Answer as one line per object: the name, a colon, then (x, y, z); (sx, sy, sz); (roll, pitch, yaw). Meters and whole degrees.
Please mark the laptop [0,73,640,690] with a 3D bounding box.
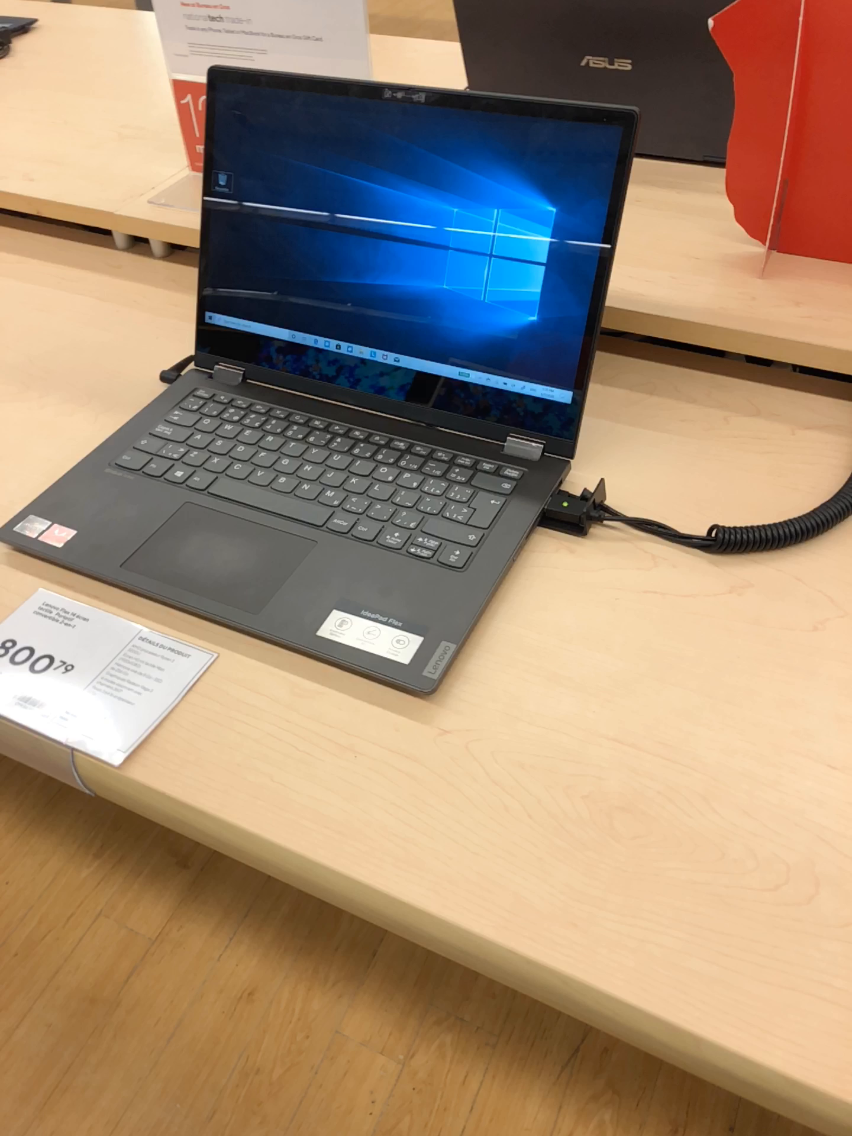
laptop: (-0.078, -0.146, 0.594); (0.319, 0.198, 0.307); (17, 48, 21)
